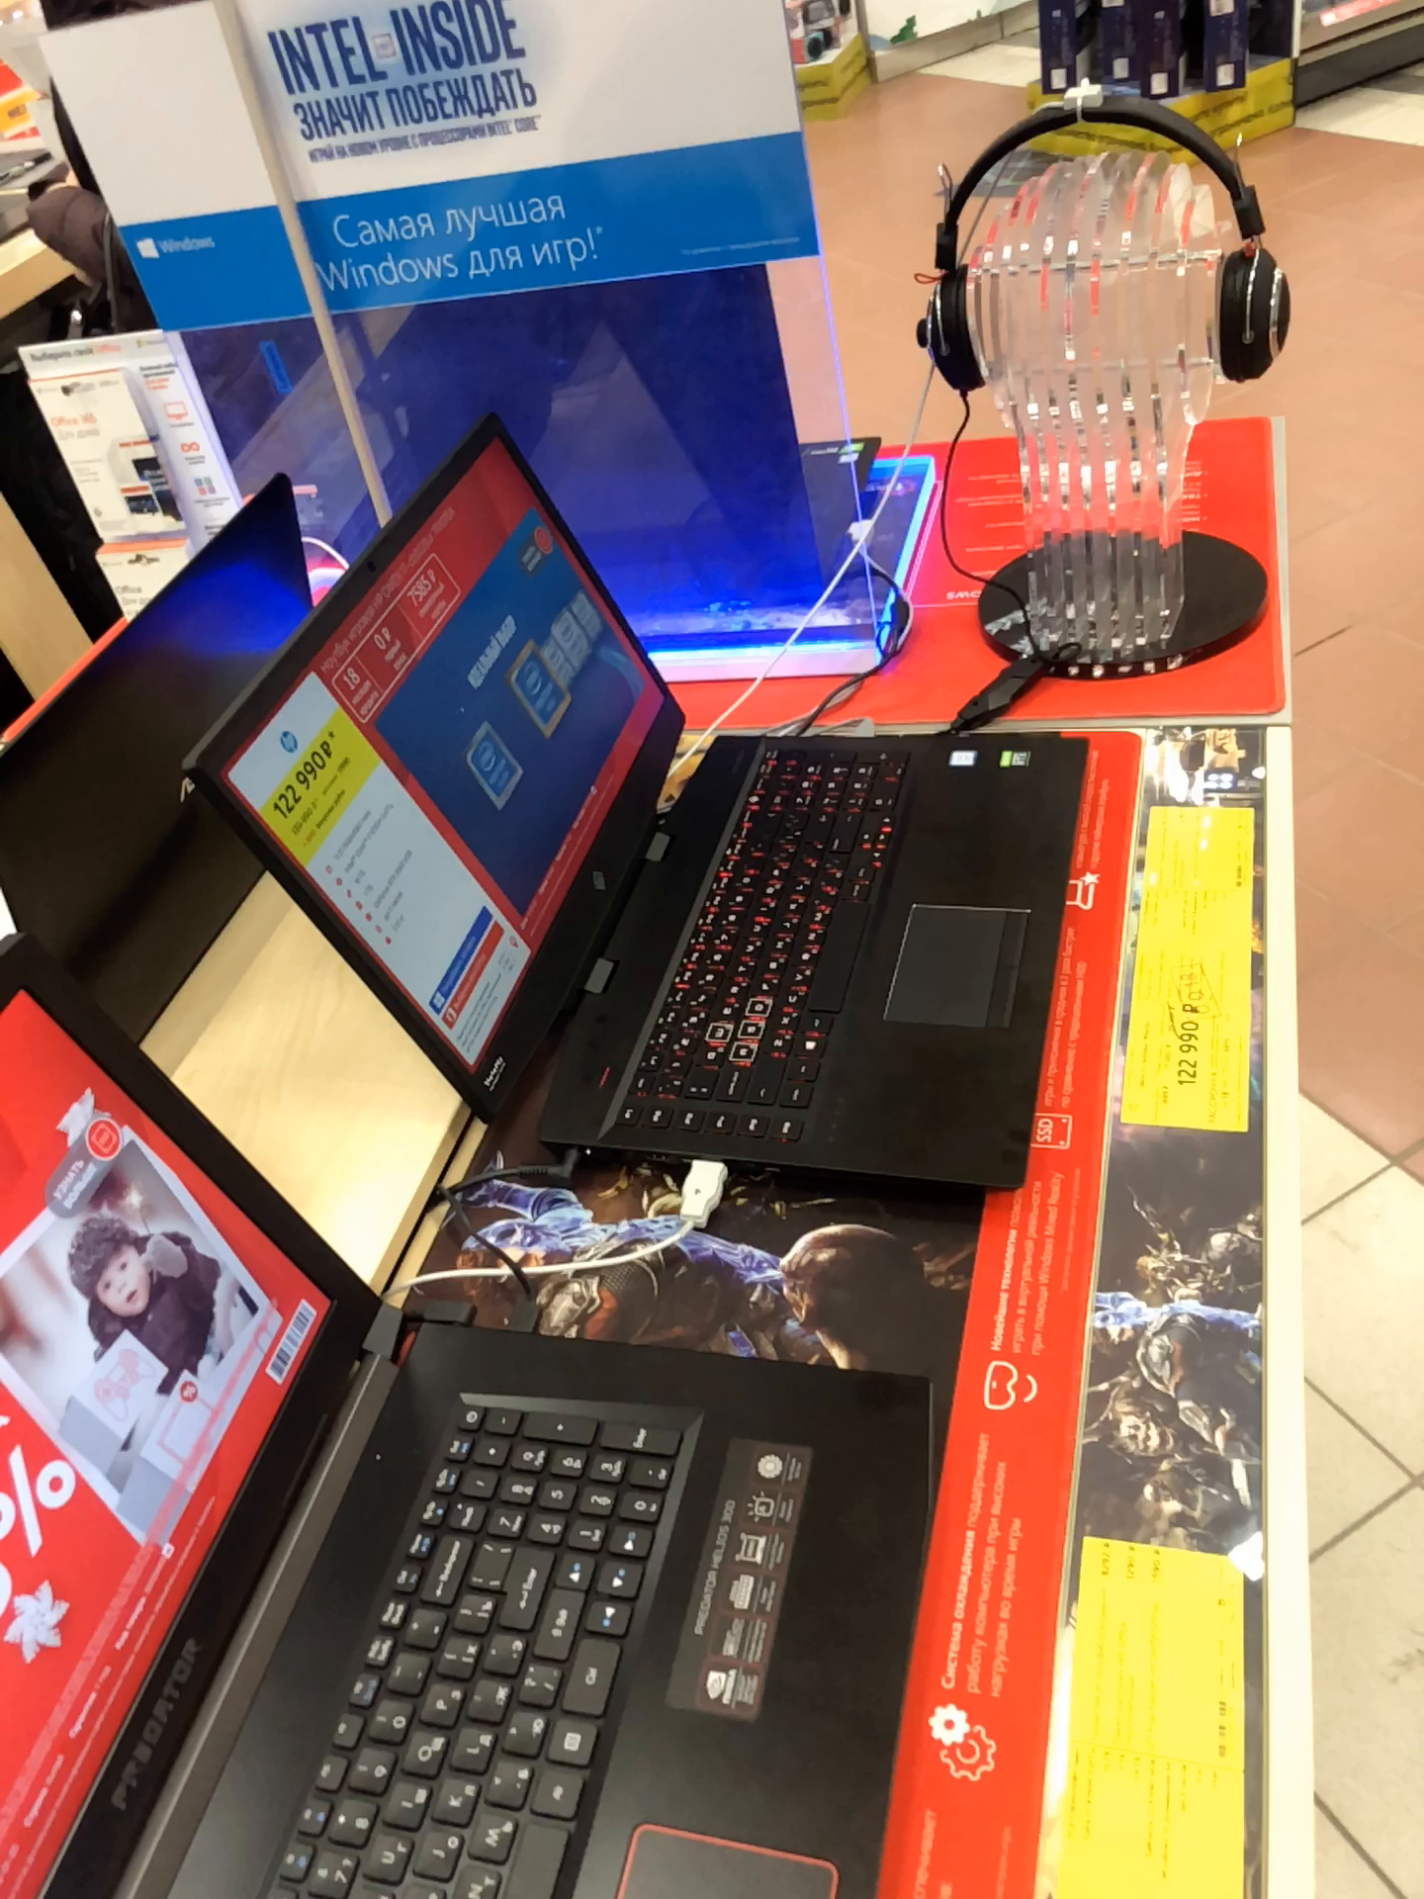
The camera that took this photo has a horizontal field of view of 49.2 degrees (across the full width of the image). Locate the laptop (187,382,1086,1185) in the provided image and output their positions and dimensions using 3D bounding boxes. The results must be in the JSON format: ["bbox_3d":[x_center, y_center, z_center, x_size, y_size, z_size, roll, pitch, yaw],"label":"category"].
[{"bbox_3d":[0.003,-0.118,0.899,0.375,0.246,0.393,3,42,17],"label":"laptop"}]
